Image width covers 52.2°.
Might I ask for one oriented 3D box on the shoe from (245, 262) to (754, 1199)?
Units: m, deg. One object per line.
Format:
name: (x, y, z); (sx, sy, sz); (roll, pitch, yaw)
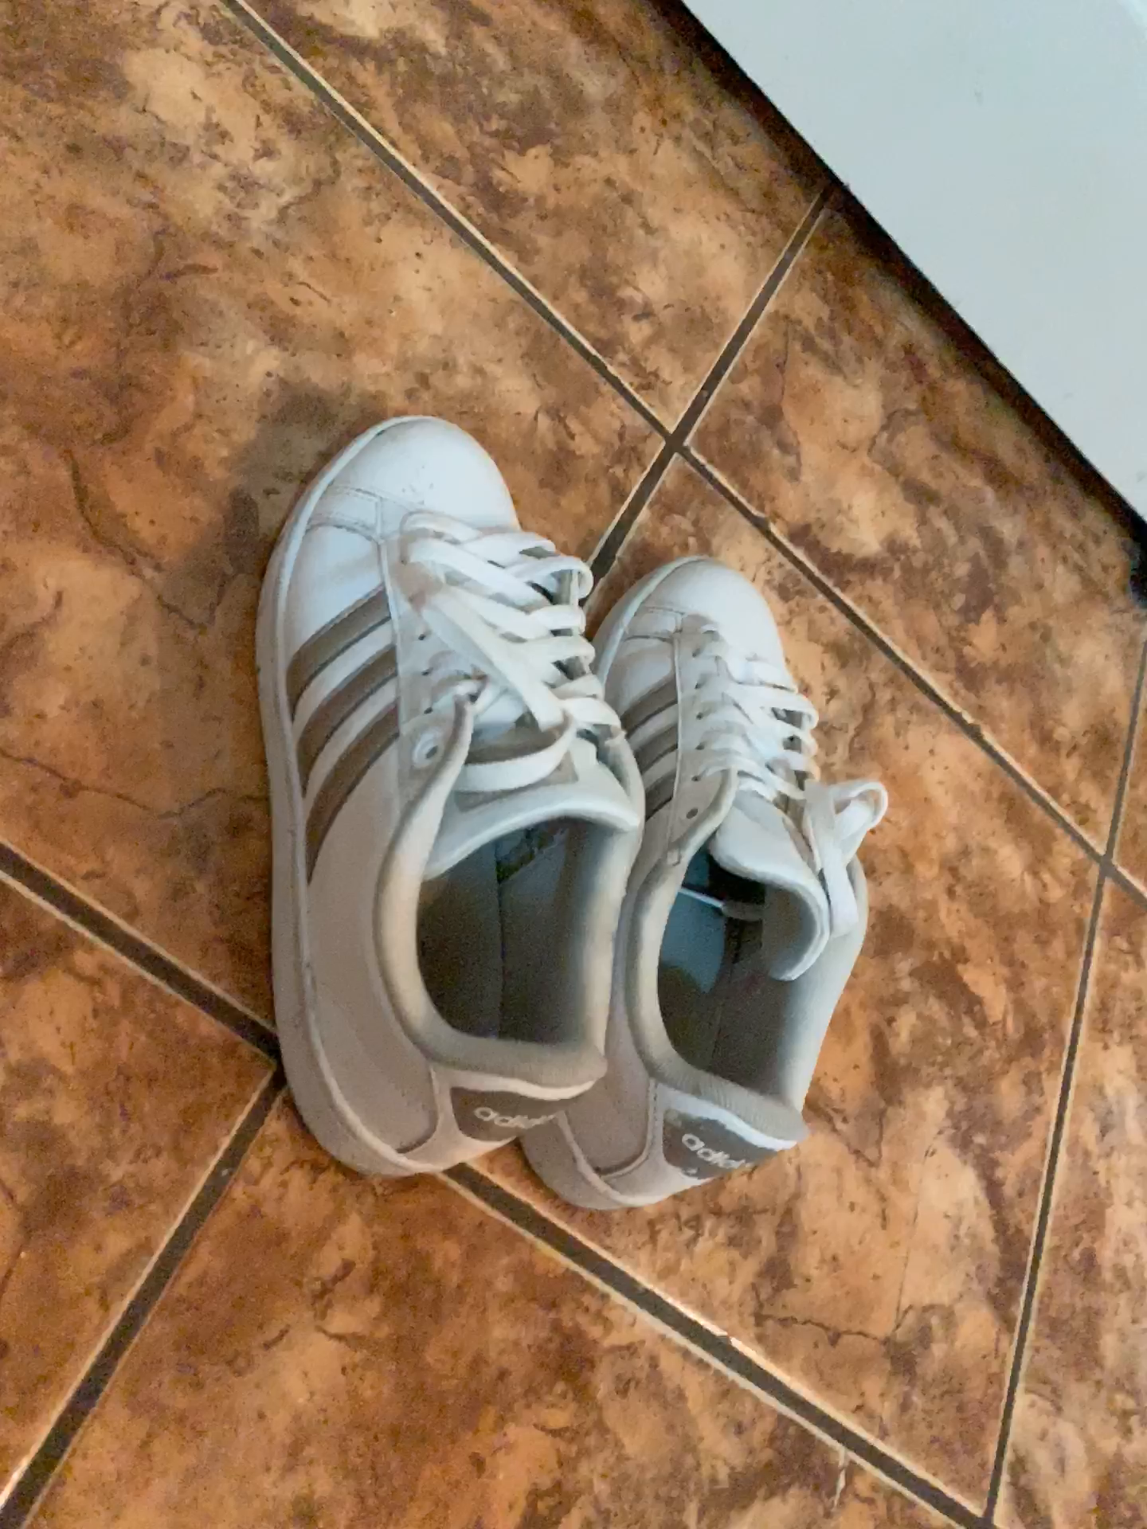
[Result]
shoe: (-0.033, -0.006, 0.369); (0.102, 0.104, 0.256); (10, 64, -33)

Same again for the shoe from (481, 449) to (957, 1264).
shoe: (0.062, 0.032, 0.423); (0.101, 0.104, 0.257); (27, 56, -25)
